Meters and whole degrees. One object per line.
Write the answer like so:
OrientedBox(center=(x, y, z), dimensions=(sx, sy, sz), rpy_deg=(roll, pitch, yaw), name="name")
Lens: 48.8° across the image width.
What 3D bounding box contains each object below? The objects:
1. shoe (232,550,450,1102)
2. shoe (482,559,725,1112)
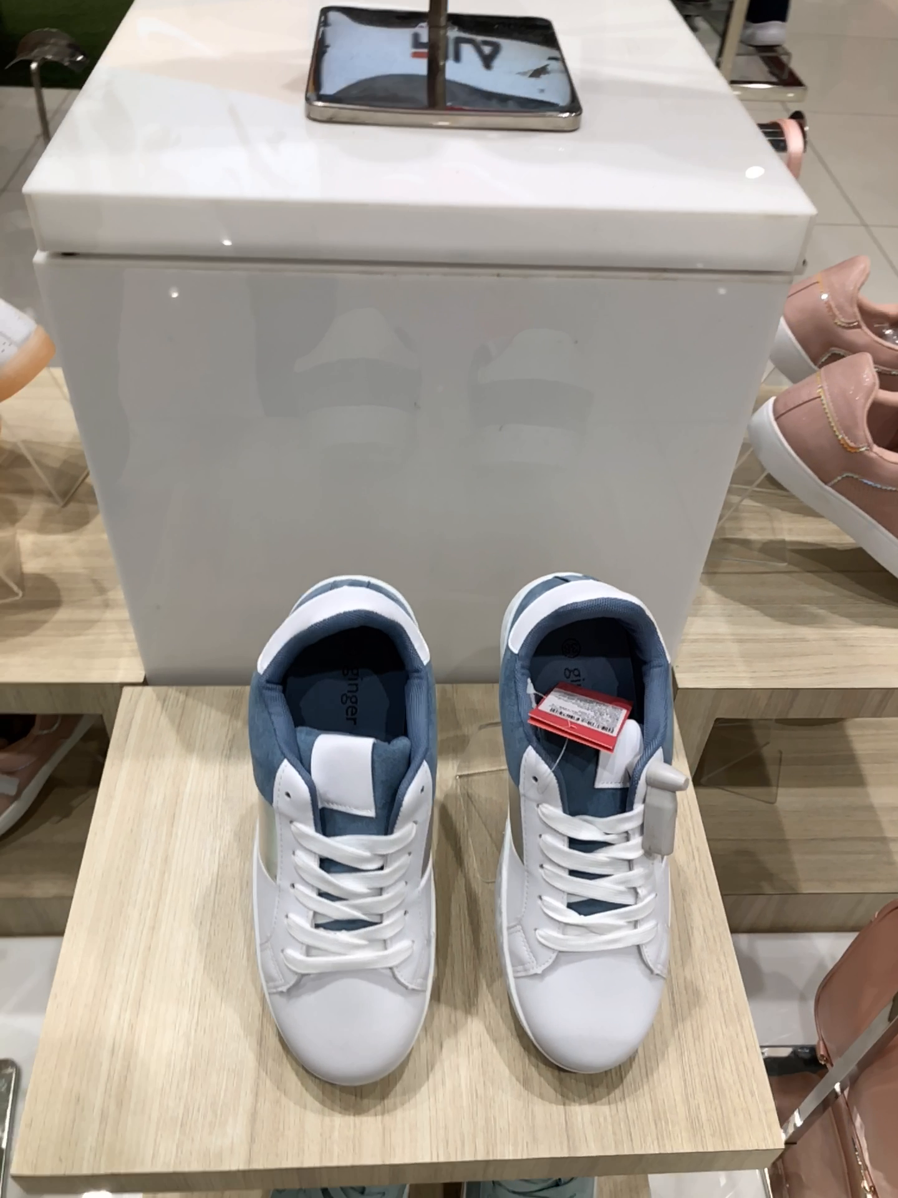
OrientedBox(center=(-0.054, 0.107, 0.511), dimensions=(0.100, 0.260, 0.090), rpy_deg=(1, 4, -3), name="shoe")
OrientedBox(center=(0.073, 0.112, 0.511), dimensions=(0.100, 0.260, 0.090), rpy_deg=(1, 4, -3), name="shoe")
